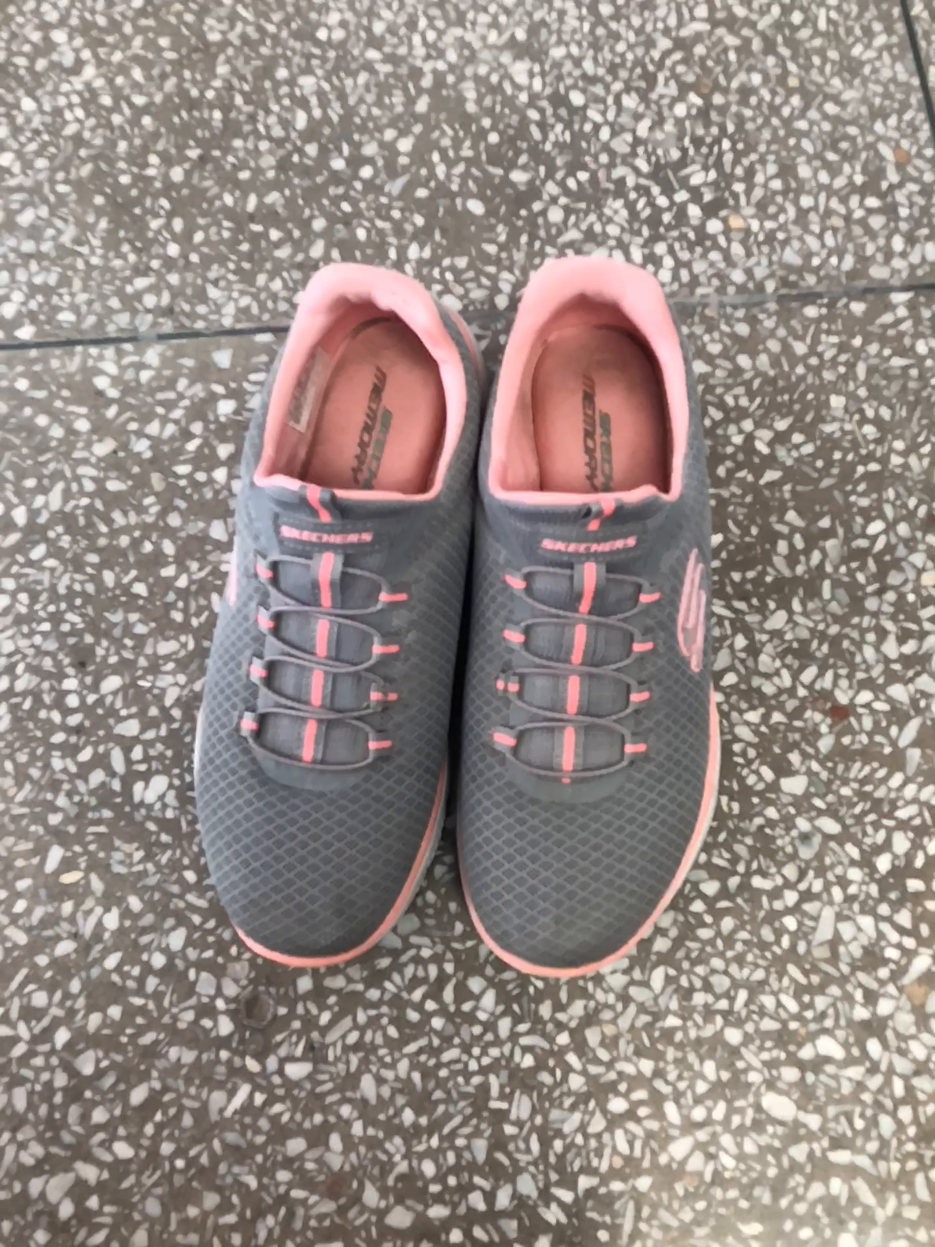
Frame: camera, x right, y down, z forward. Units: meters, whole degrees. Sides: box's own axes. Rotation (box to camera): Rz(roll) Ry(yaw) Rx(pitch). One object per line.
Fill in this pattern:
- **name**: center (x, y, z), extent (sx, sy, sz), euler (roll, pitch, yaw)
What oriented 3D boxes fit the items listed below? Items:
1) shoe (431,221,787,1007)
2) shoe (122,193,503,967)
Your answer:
- **shoe**: center (0.047, -0.002, 0.354), extent (0.090, 0.100, 0.230), euler (5, 79, 3)
- **shoe**: center (-0.043, -0.013, 0.370), extent (0.090, 0.100, 0.240), euler (5, 79, 3)
